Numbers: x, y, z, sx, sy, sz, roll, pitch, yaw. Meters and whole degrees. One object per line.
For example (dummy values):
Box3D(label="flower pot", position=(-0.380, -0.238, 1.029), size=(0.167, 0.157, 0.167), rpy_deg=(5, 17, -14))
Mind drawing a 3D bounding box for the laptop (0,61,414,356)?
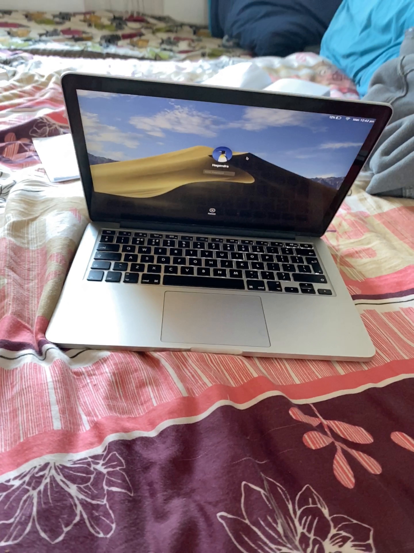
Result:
Box3D(label="laptop", position=(0.010, -0.070, 0.414), size=(0.303, 0.191, 0.203), rpy_deg=(3, 38, -3))
